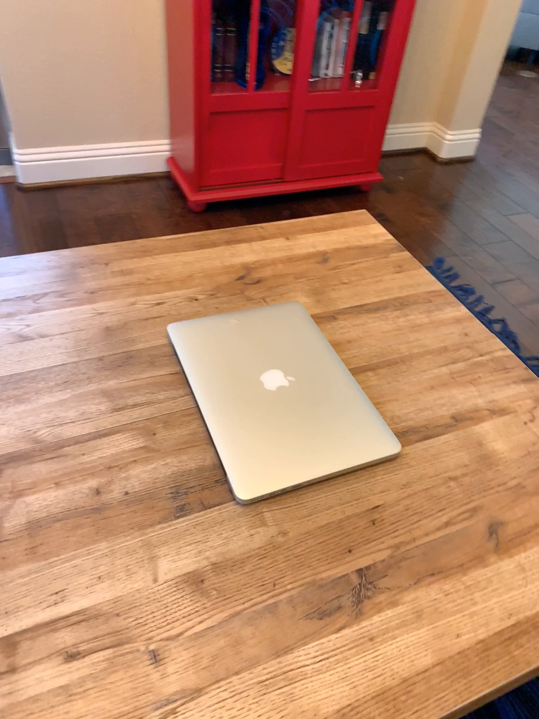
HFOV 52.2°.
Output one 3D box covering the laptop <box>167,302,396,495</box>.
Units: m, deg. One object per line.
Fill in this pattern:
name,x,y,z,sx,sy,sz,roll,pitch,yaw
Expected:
laptop,0.003,0.029,0.739,0.208,0.002,0.299,-12,47,-20
